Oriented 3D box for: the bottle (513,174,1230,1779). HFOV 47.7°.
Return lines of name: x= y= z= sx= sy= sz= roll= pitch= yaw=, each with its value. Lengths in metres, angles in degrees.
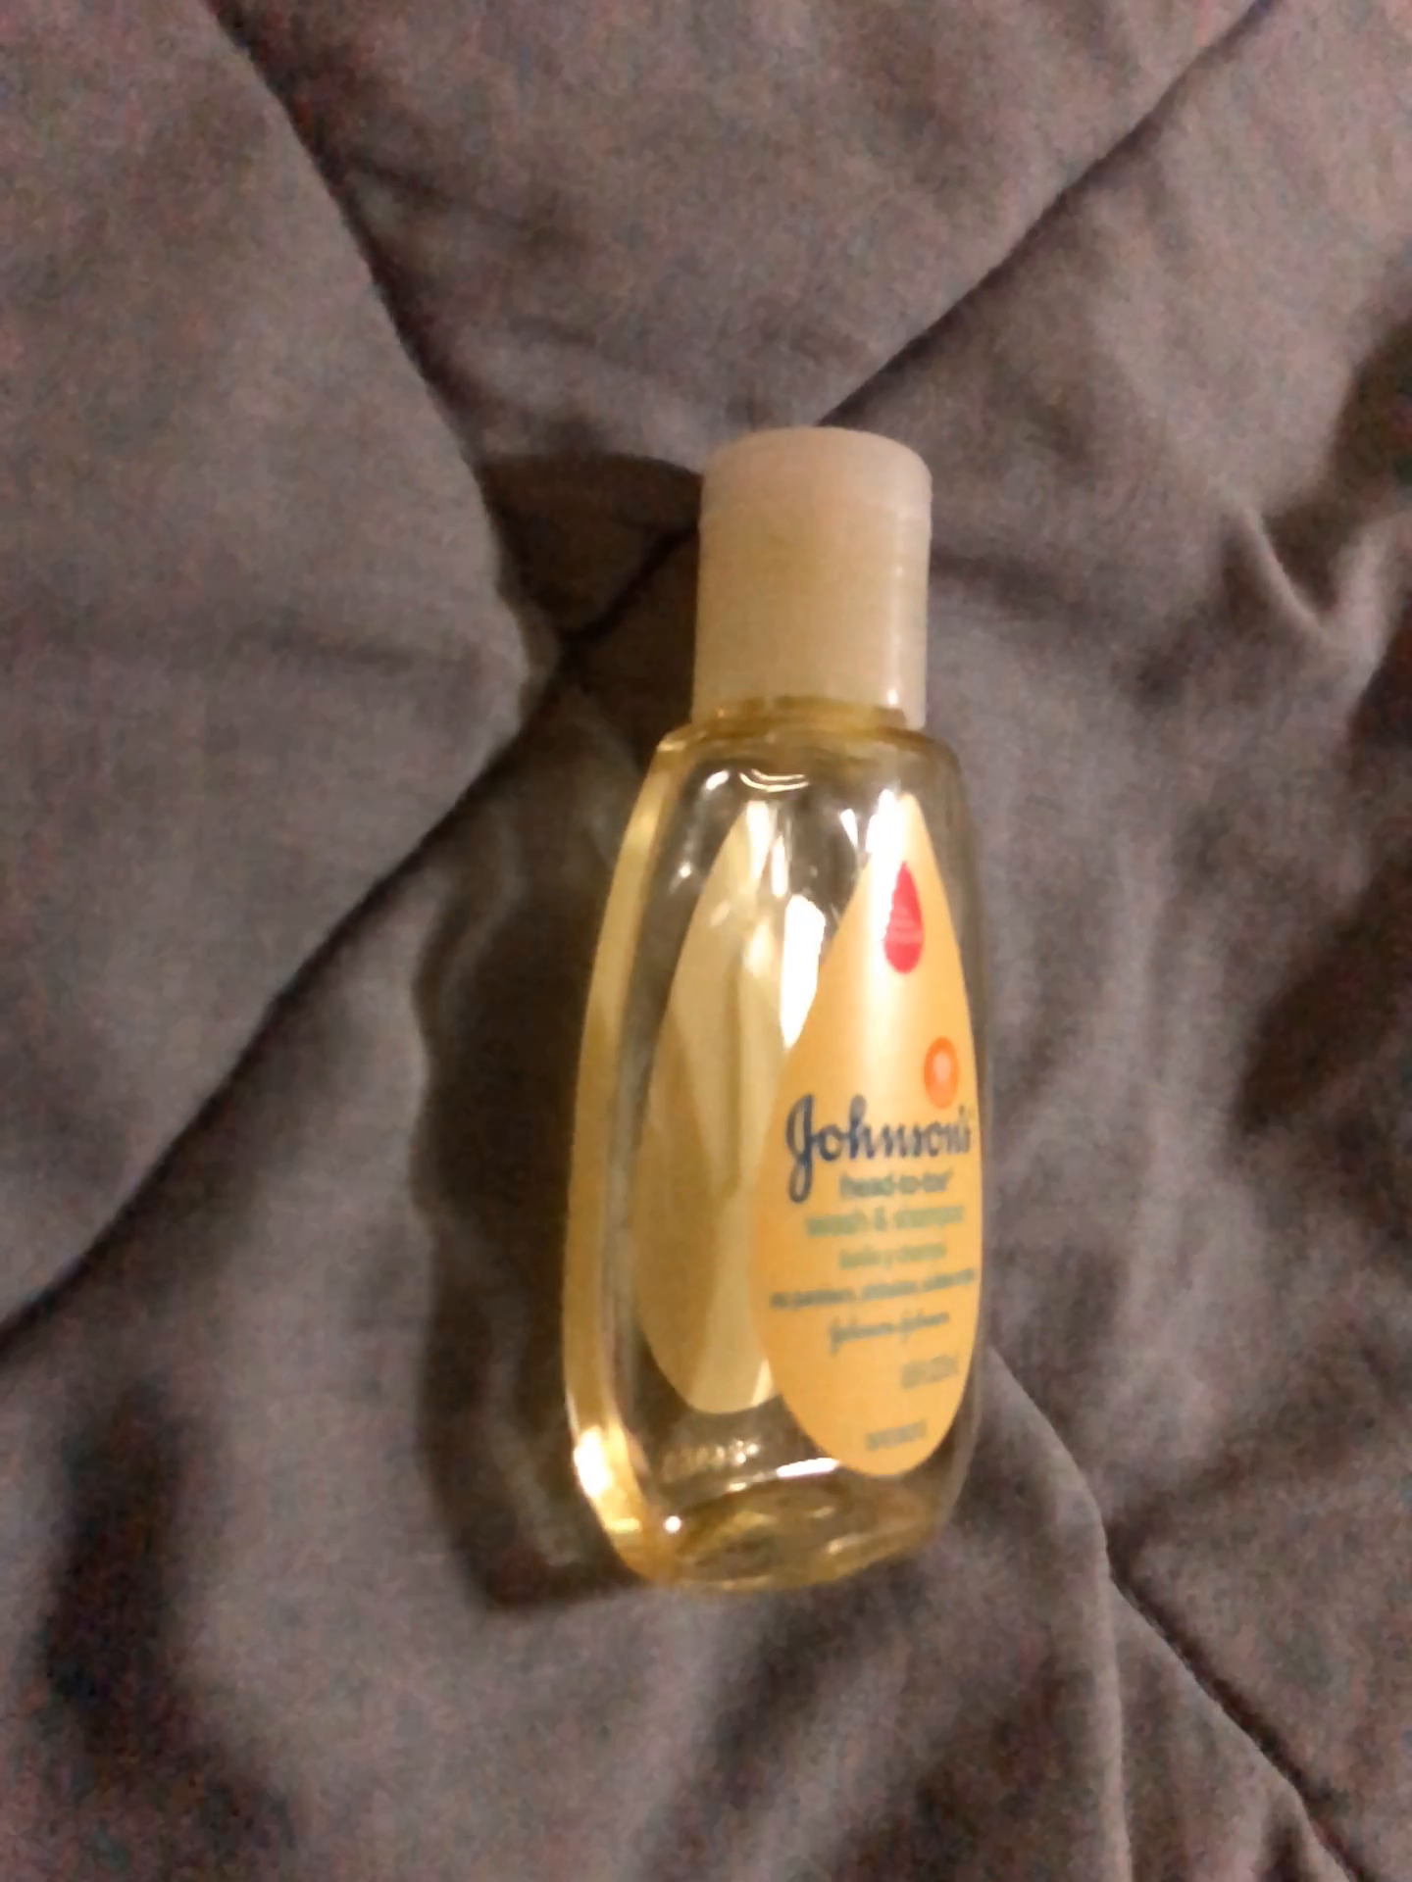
bottle: x=0.013 y=0.002 z=0.113 sx=0.050 sy=0.020 sz=0.090 roll=5 pitch=83 yaw=-41
